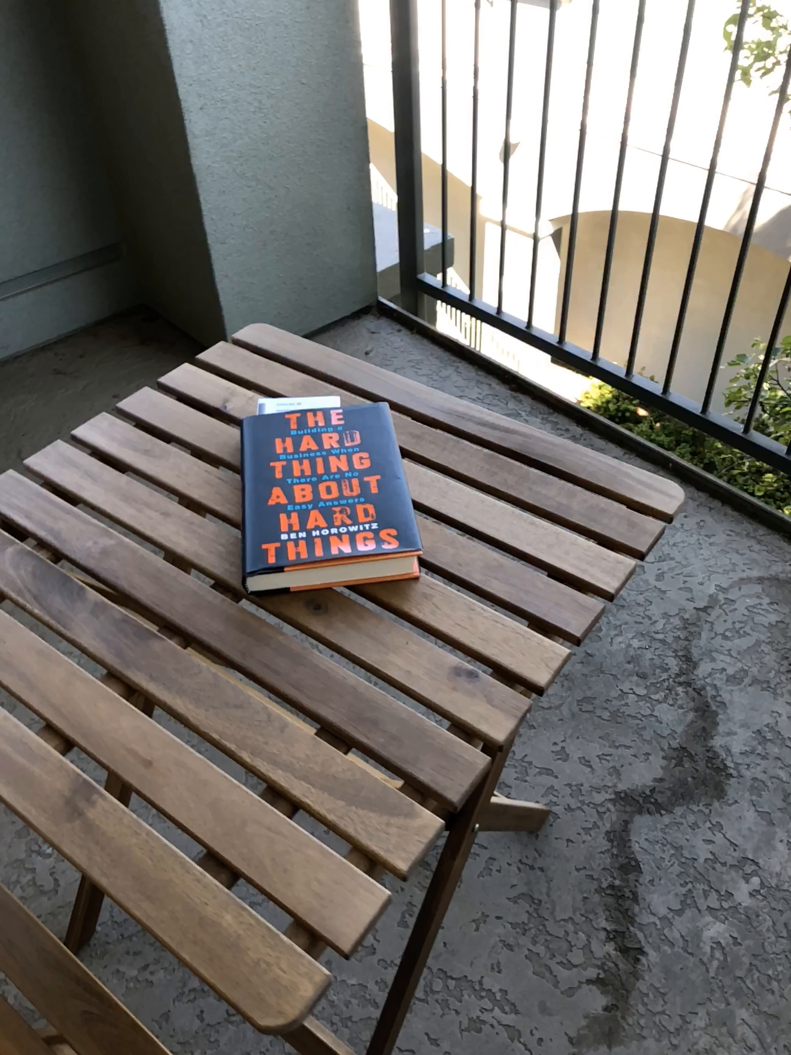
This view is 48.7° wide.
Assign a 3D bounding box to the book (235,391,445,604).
[{"bbox_3d":[-0.061,-0.039,0.850,0.180,0.040,0.241,-7,43,-4],"label":"book"}]
